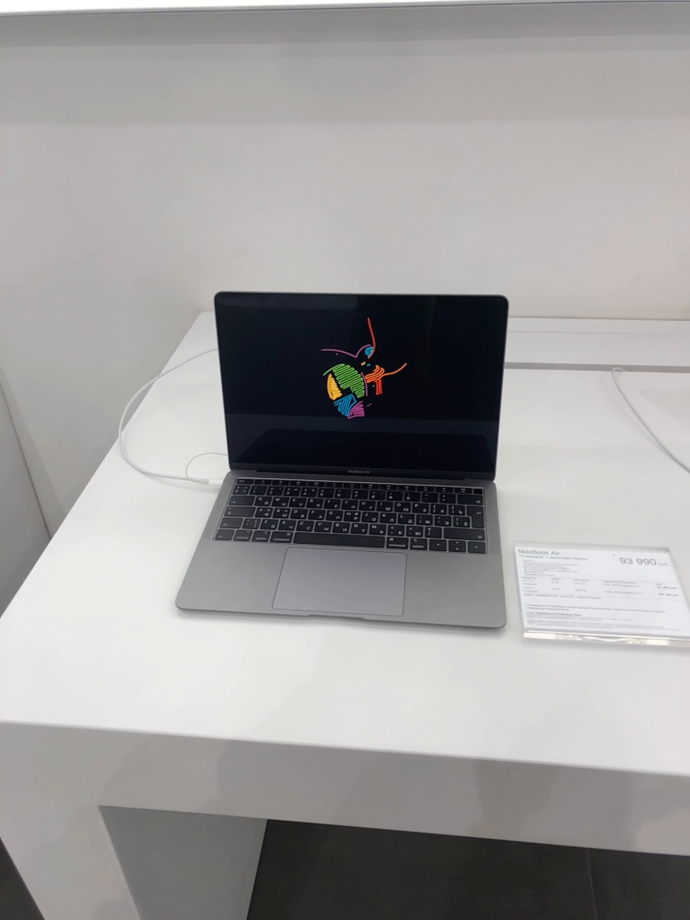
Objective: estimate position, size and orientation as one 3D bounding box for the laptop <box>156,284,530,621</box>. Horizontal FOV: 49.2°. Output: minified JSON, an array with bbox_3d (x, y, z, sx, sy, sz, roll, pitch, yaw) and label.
[{"bbox_3d":[0.006,-0.021,0.723,0.284,0.194,0.251,2,36,6],"label":"laptop"}]
